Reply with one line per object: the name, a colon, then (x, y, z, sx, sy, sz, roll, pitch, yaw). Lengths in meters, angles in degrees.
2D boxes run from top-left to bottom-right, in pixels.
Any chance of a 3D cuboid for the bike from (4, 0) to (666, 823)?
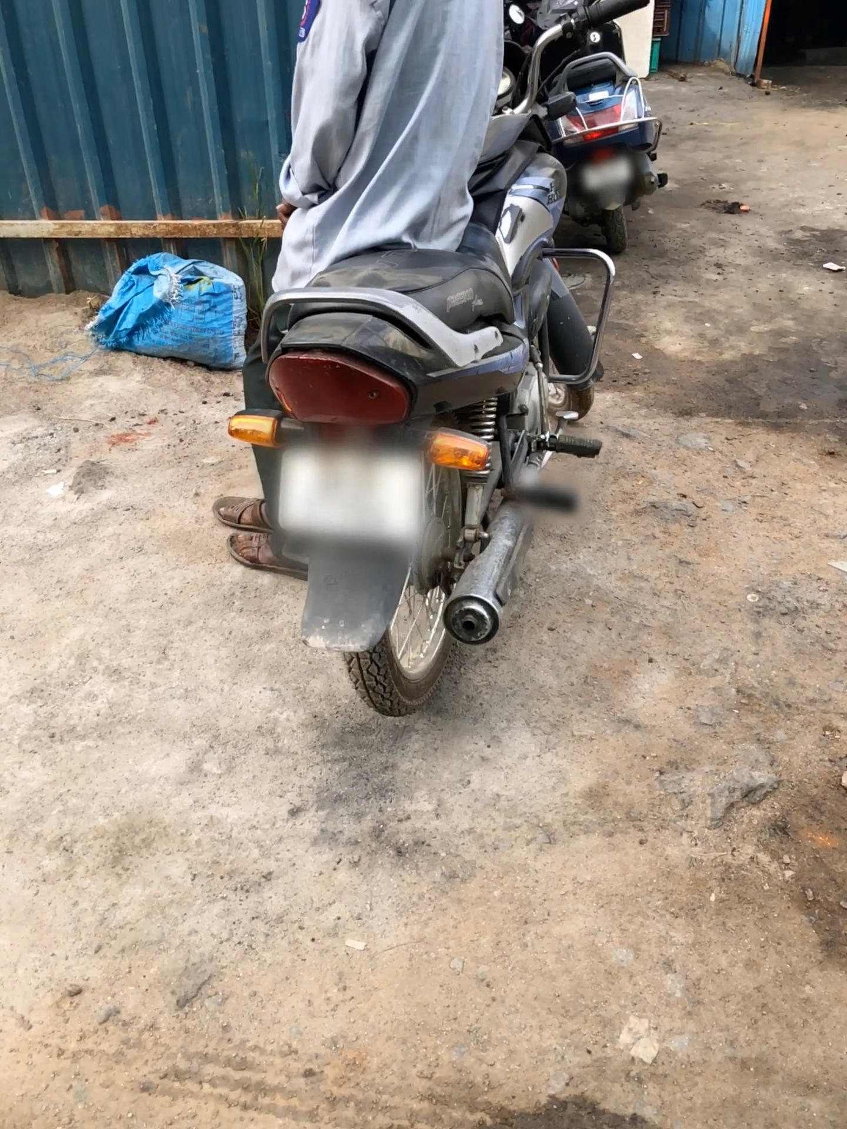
bike: (0.051, -0.616, 2.074, 0.783, 1.154, 1.813, 5, 36, 10)
